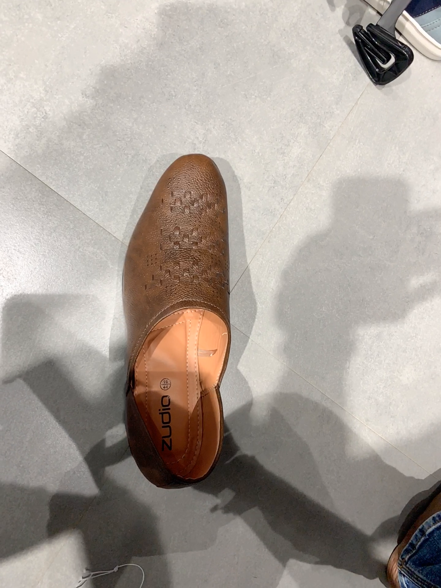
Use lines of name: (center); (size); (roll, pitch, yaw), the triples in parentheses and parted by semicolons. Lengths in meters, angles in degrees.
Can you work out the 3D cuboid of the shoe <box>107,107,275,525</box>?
shoe: (-0.031, 0.017, 0.383); (0.100, 0.110, 0.290); (3, 89, -22)
